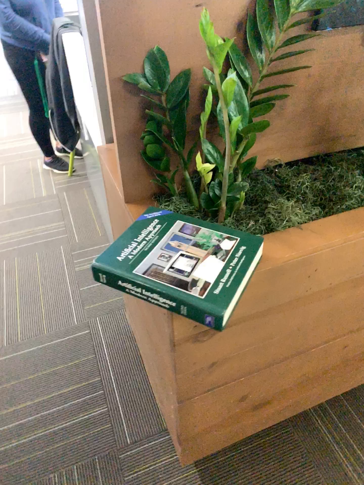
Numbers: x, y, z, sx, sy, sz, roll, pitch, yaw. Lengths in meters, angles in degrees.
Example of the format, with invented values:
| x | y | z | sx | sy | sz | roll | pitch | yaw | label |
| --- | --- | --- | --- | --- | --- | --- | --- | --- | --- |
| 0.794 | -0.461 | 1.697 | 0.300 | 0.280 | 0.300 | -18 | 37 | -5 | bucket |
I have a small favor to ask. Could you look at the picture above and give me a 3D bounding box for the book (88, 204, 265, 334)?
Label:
| x | y | z | sx | sy | sz | roll | pitch | yaw | label |
| --- | --- | --- | --- | --- | --- | --- | --- | --- | --- |
| -0.004 | 0.032 | 0.709 | 0.261 | 0.050 | 0.211 | 17 | 43 | 22 | book |
